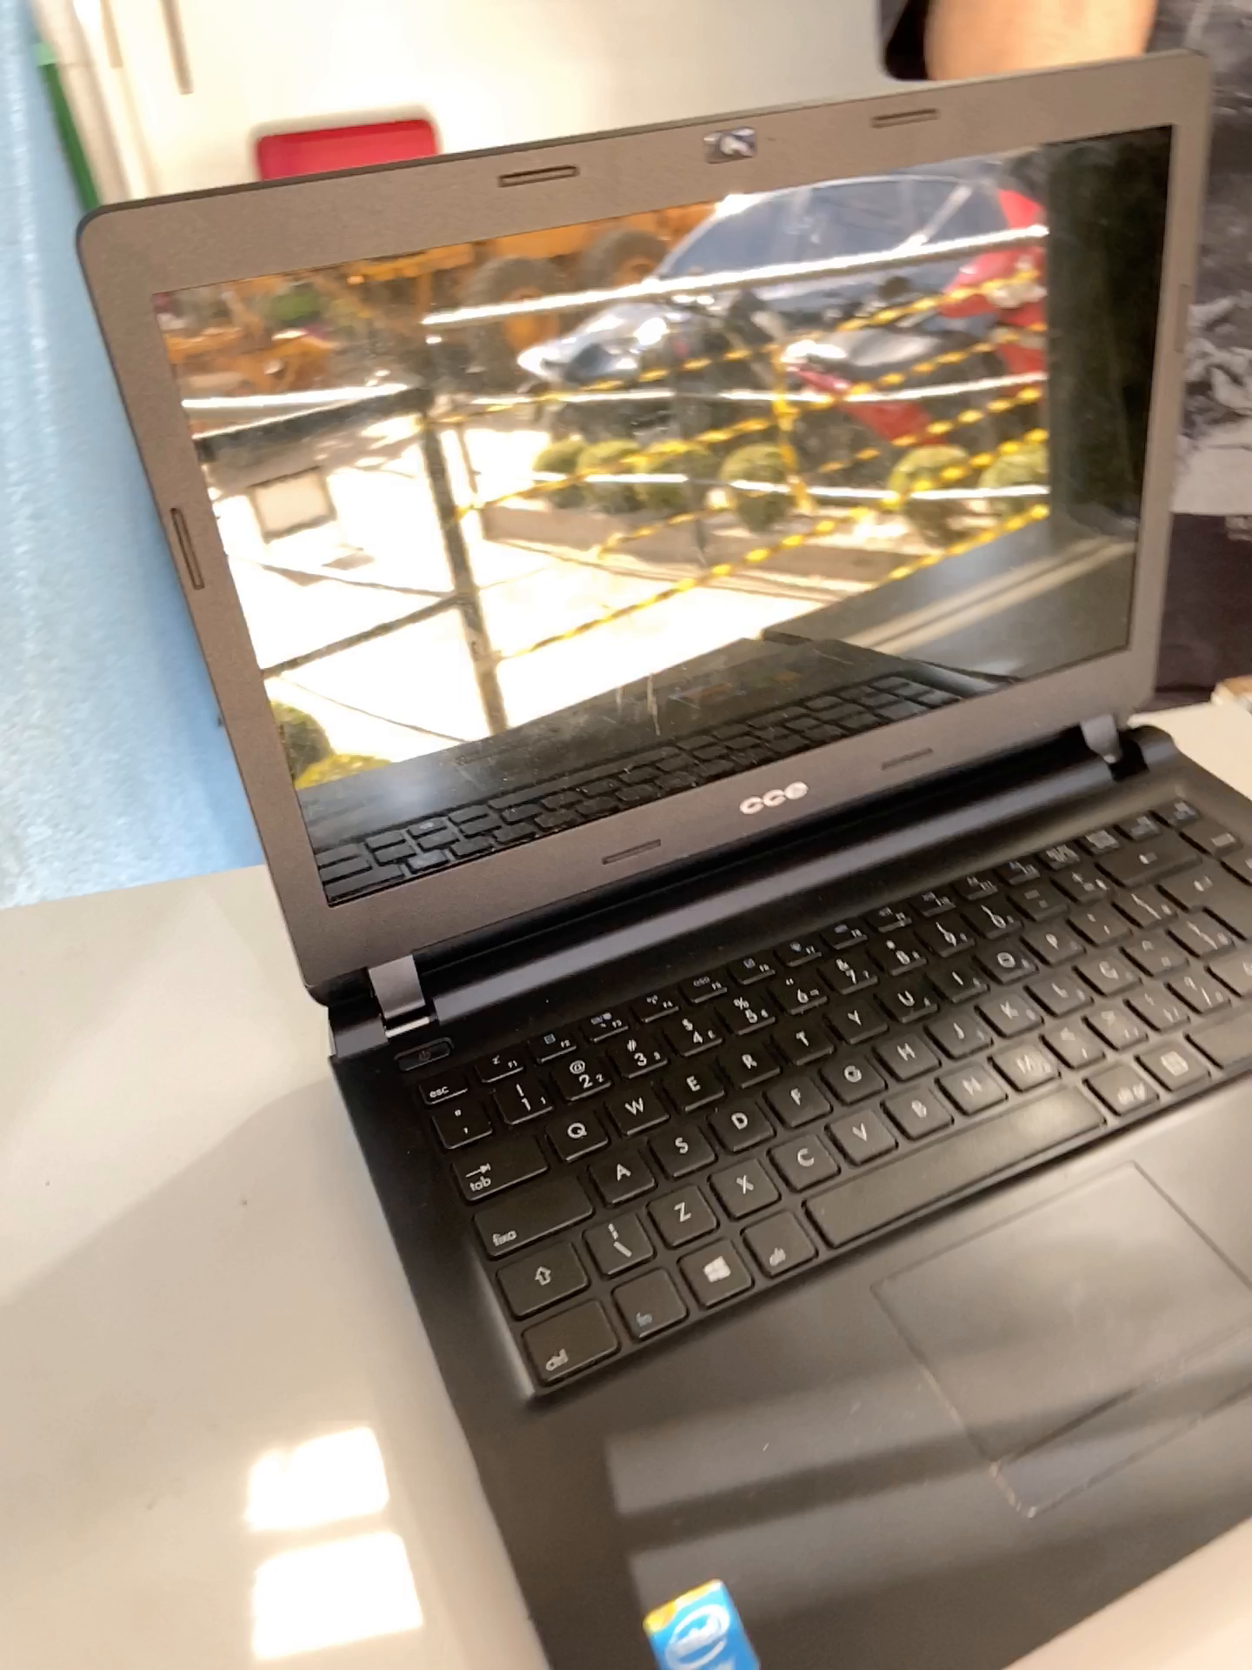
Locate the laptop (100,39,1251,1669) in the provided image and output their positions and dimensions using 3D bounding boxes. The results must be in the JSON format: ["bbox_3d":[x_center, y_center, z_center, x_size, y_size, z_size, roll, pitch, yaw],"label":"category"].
[{"bbox_3d":[0.087,-0.030,0.311,0.324,0.216,0.268,-19,39,-16],"label":"laptop"}]
